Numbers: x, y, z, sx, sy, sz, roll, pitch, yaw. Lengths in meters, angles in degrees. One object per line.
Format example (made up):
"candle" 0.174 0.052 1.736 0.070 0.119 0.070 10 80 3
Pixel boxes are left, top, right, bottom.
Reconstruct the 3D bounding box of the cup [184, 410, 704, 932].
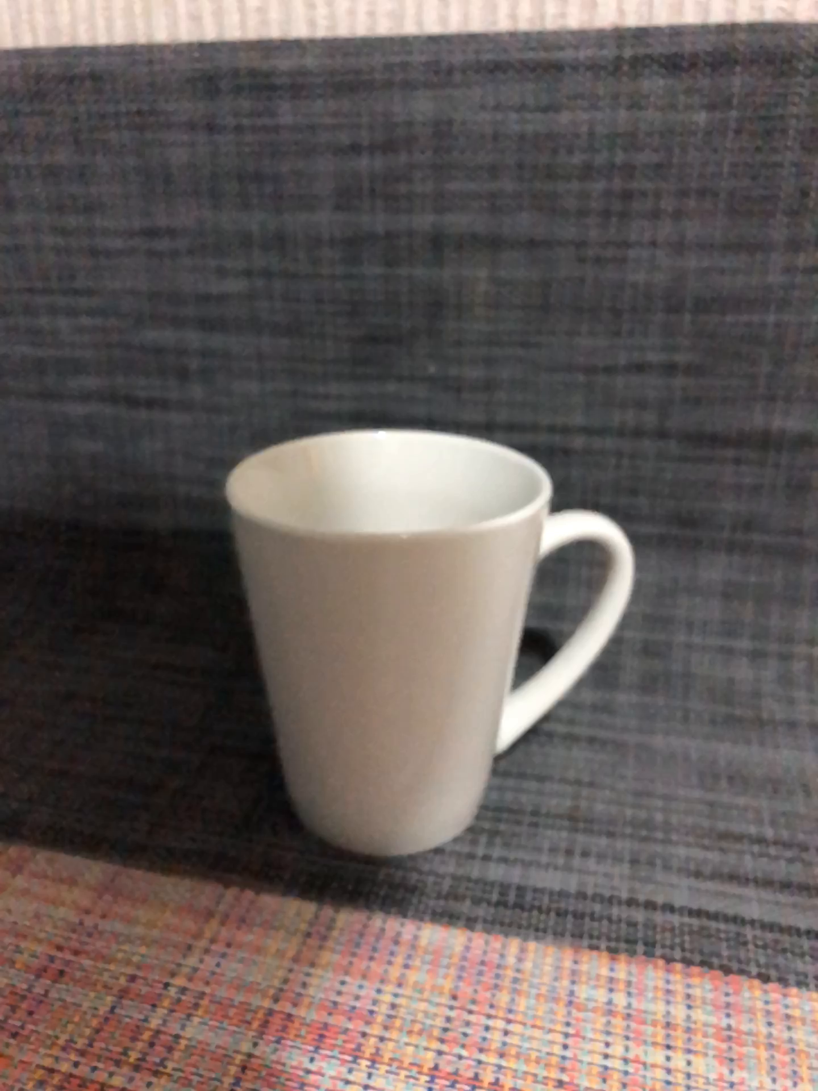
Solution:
"cup" 0.001 0.024 0.261 0.112 0.096 0.097 -6 23 -16
